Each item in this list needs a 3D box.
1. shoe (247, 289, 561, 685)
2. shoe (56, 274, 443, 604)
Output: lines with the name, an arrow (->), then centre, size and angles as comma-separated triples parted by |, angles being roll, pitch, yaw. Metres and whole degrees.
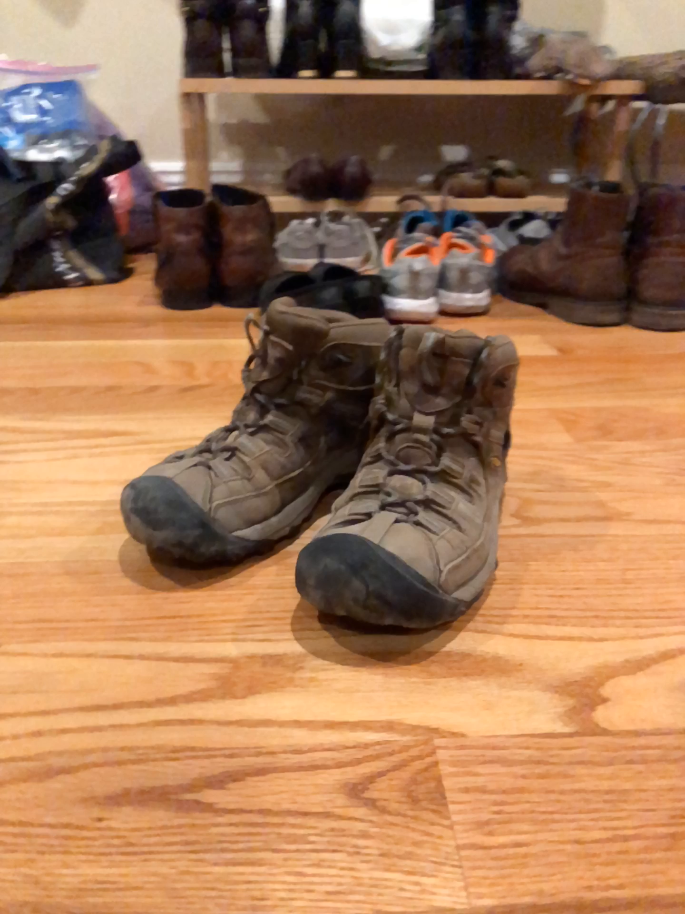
shoe -> 0.055, -0.007, 0.484 | 0.107, 0.139, 0.261 | 11, 27, 21
shoe -> -0.047, -0.033, 0.538 | 0.108, 0.139, 0.260 | 19, 31, 34
